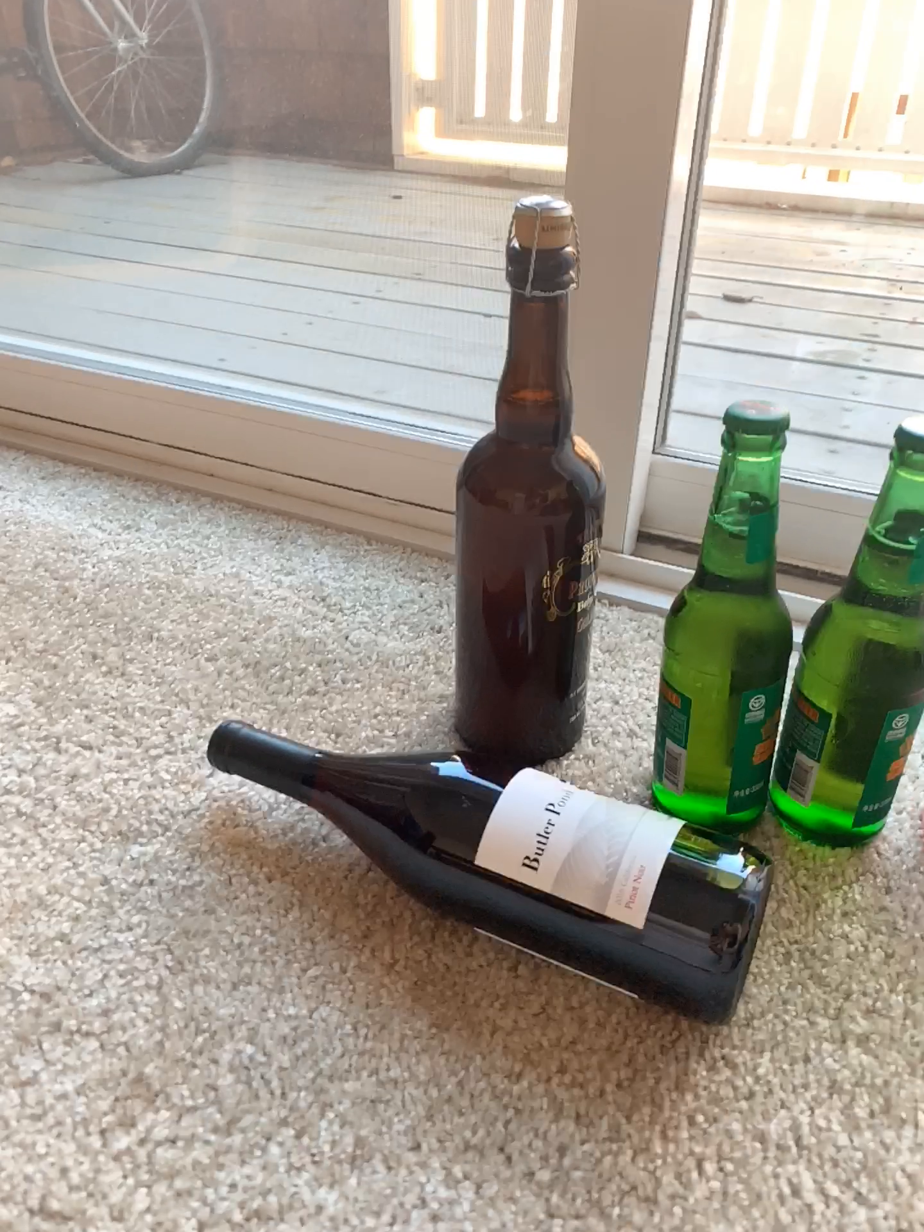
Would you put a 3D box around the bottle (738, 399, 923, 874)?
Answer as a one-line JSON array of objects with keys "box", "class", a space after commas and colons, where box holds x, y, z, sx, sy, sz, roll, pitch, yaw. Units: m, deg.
[{"box": [0.199, 0.015, 0.470, 0.070, 0.219, 0.070, 1, 32, -1], "class": "bottle"}]

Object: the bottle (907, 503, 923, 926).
[{"box": [0.273, 0.049, 0.448, 0.070, 0.179, 0.070, 1, 32, -1], "class": "bottle"}]

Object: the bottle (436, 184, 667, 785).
[{"box": [0.039, -0.057, 0.487, 0.080, 0.288, 0.080, 1, 32, -1], "class": "bottle"}]

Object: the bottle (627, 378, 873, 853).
[{"box": [0.132, 0.004, 0.450, 0.070, 0.209, 0.070, 1, 32, -1], "class": "bottle"}]

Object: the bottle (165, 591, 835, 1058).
[{"box": [0.008, 0.083, 0.423, 0.281, 0.080, 0.070, 20, 36, 15], "class": "bottle"}]
